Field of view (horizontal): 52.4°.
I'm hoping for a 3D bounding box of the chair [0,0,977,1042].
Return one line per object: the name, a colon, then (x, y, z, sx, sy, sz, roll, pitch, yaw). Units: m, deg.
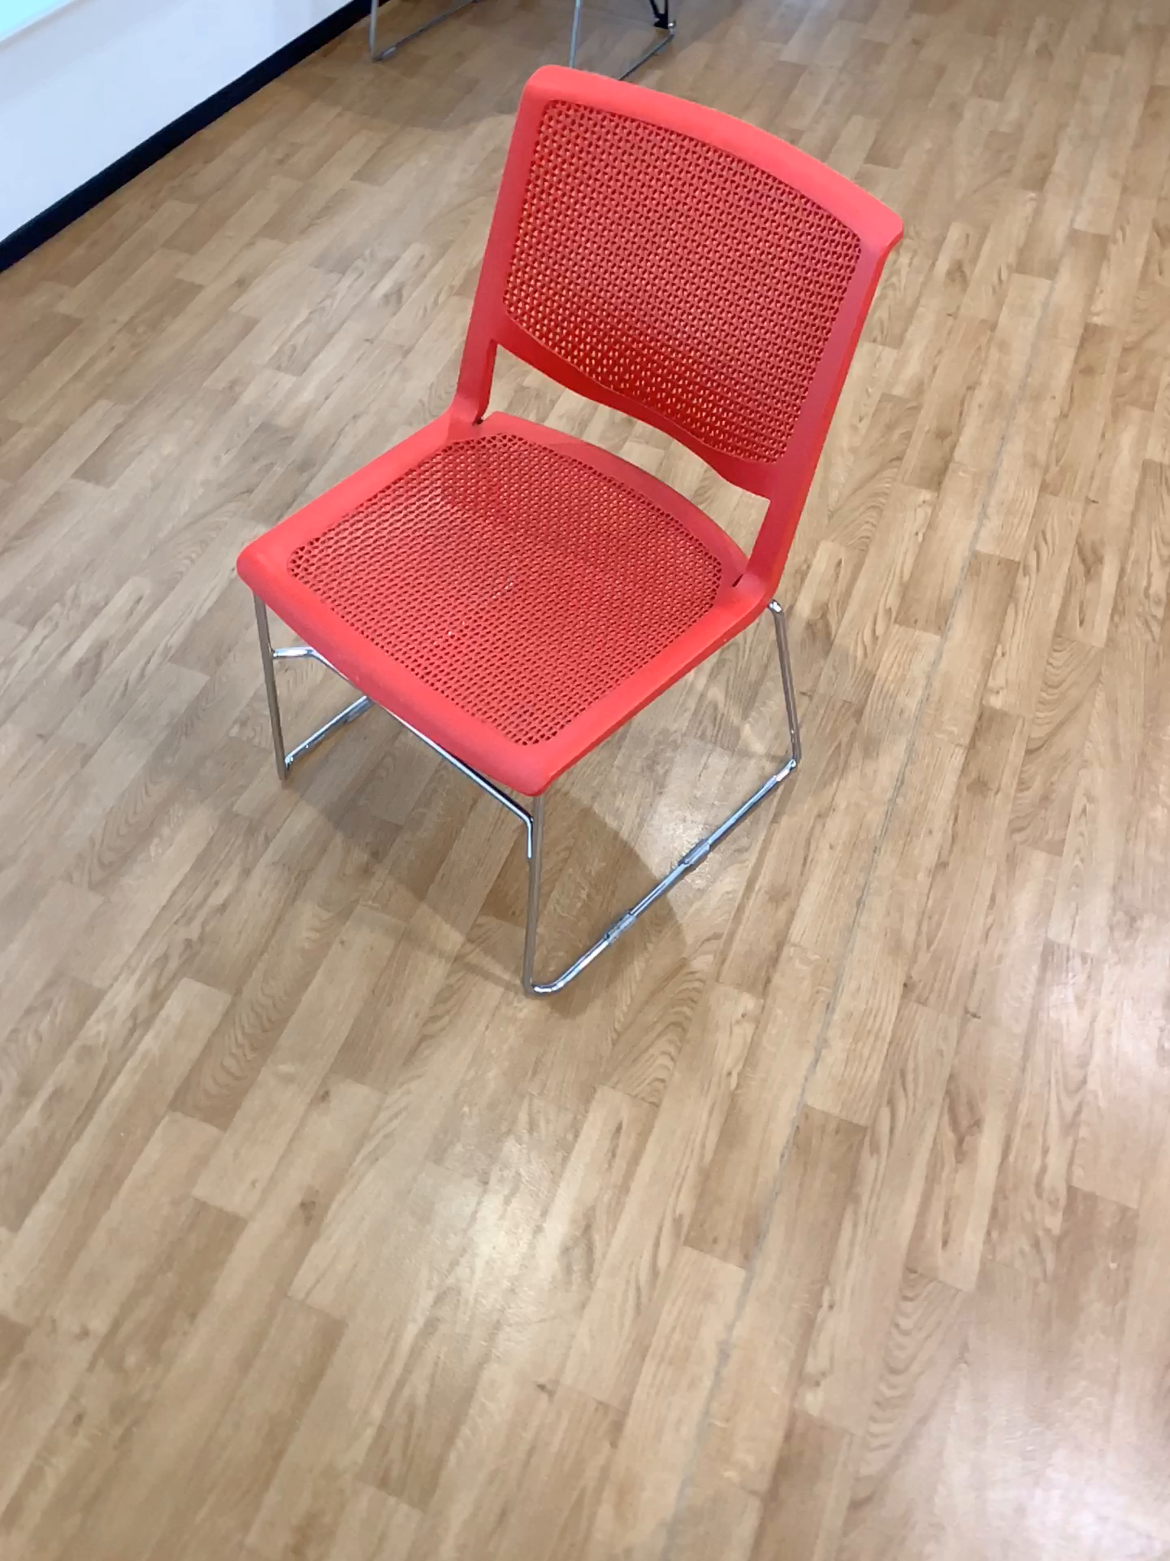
chair: (-0.102, -0.263, 1.240, 0.602, 0.705, 0.592, 35, 62, 22)
